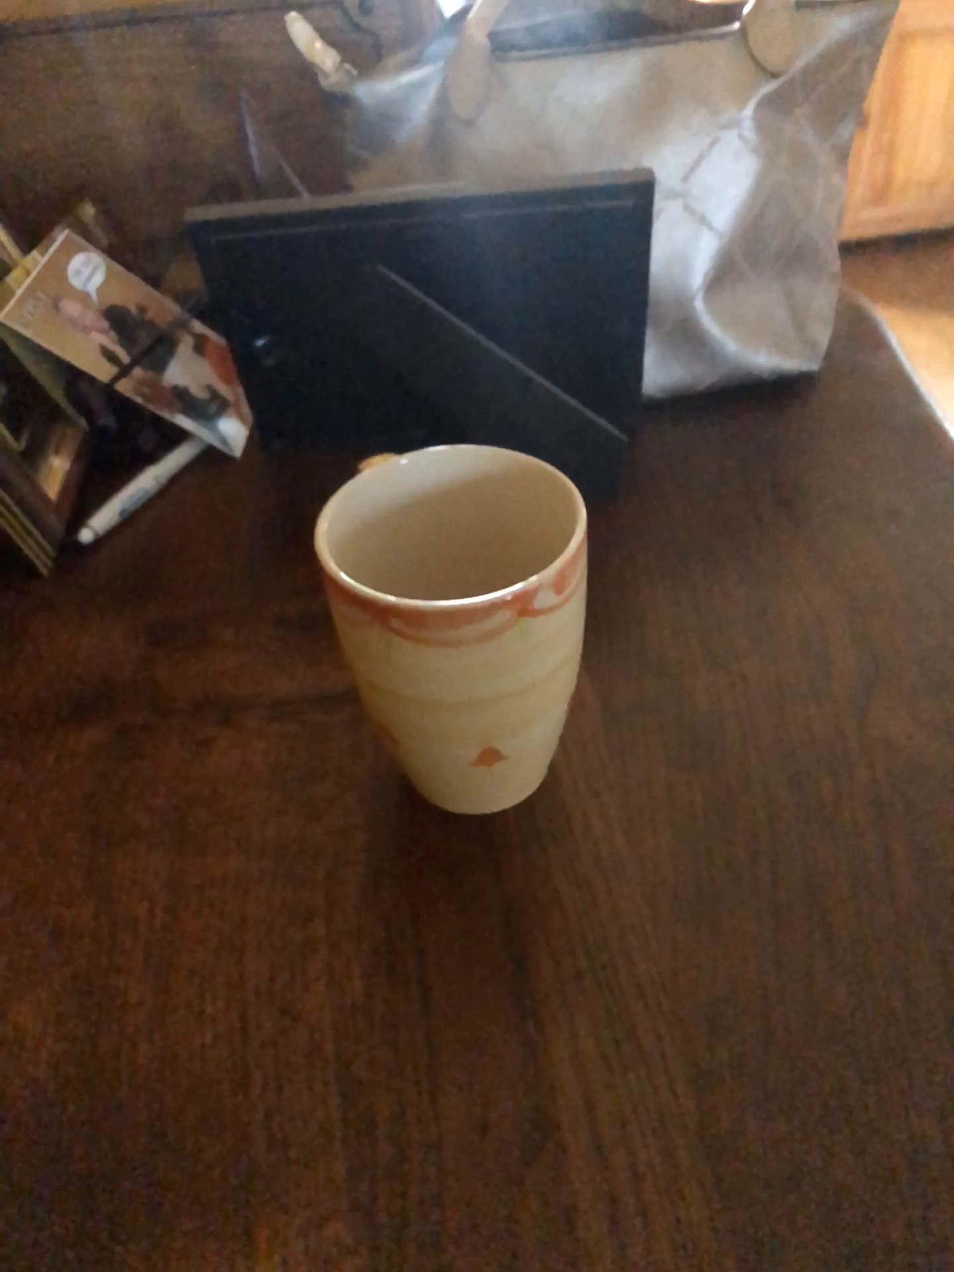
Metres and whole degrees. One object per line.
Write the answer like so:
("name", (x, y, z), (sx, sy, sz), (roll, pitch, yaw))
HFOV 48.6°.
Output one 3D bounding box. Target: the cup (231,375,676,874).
("cup", (-0.009, -0.010, 0.378), (0.100, 0.099, 0.120), (-24, 45, -20))
